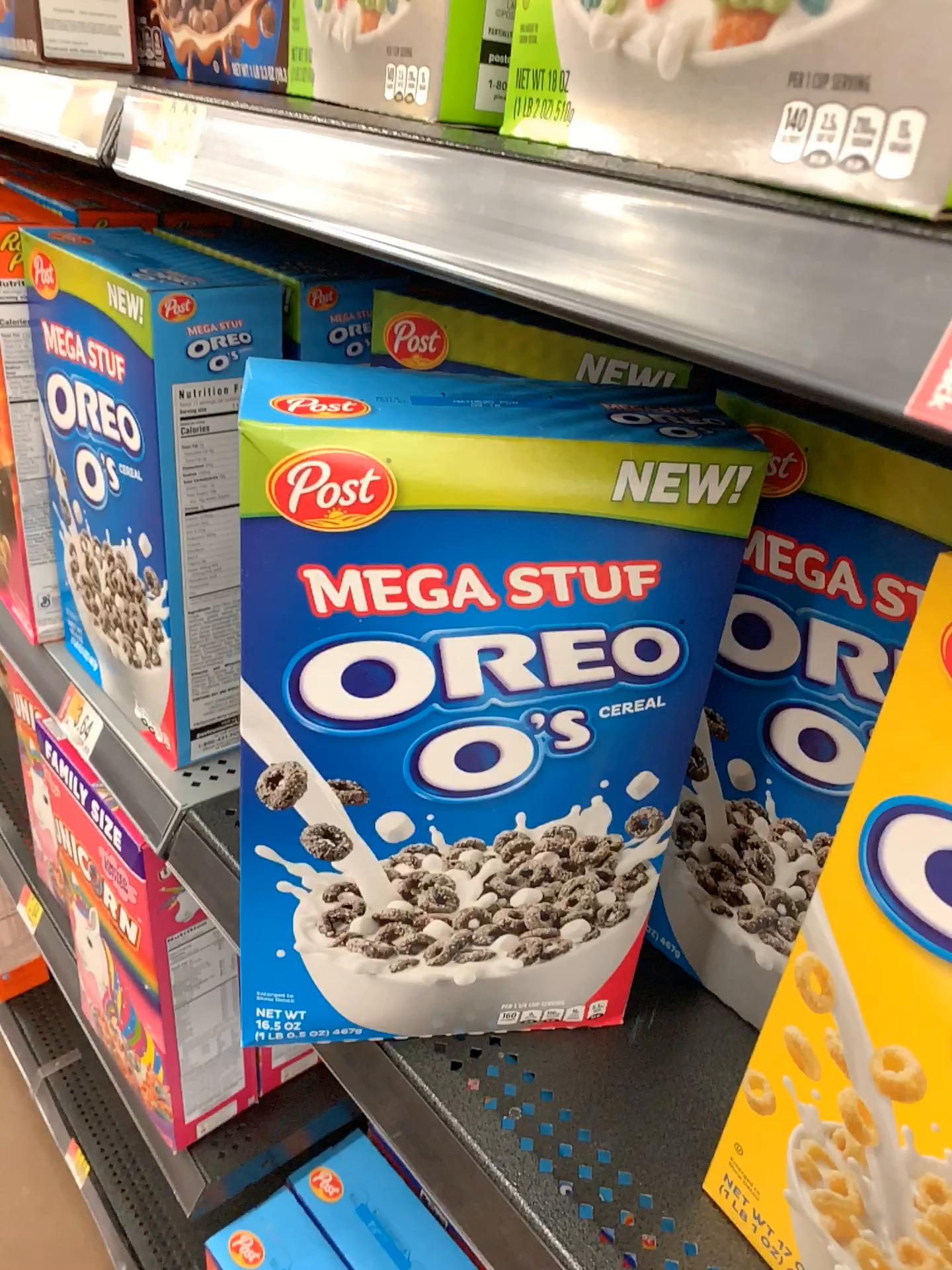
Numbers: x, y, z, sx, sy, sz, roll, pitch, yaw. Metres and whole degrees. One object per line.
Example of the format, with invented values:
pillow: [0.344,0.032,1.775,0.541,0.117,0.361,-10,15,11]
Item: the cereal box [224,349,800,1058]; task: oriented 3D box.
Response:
cereal box: [-0.005,0.048,0.461,0.210,0.328,0.080,1,30,-11]
